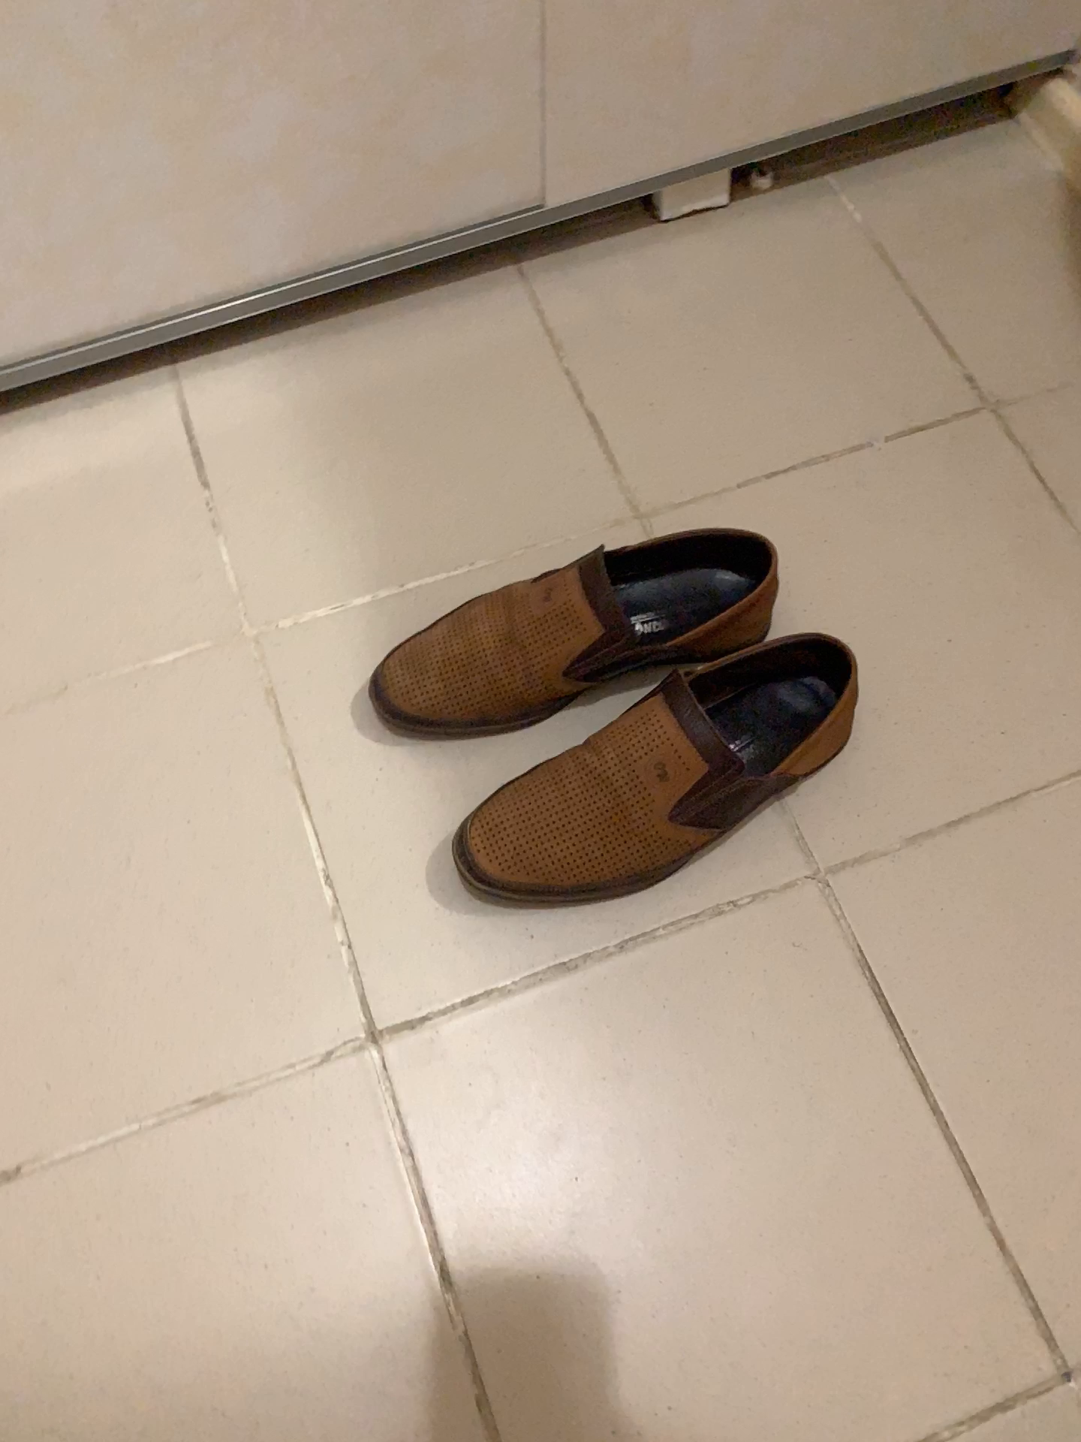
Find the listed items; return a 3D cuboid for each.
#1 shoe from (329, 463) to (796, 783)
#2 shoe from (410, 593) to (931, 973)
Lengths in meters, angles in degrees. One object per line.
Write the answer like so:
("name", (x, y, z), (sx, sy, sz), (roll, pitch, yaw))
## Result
("shoe", (0.013, -0.065, 0.724), (0.270, 0.080, 0.110), (-18, 66, -8))
("shoe", (0.078, 0.038, 0.694), (0.290, 0.090, 0.110), (-23, 67, -10))
